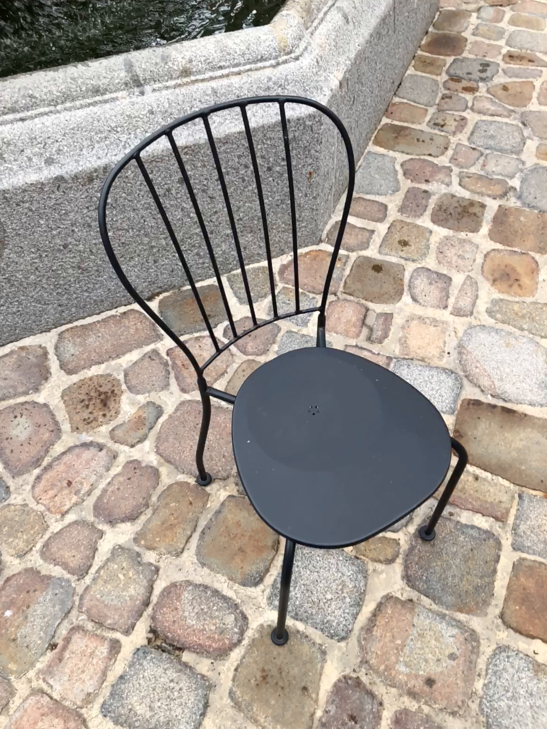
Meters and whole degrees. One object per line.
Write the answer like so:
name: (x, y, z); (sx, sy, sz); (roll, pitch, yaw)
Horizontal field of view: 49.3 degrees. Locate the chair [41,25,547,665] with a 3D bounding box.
chair: (0.051, 0.039, 0.918); (0.421, 0.796, 0.471); (-26, 57, -18)
